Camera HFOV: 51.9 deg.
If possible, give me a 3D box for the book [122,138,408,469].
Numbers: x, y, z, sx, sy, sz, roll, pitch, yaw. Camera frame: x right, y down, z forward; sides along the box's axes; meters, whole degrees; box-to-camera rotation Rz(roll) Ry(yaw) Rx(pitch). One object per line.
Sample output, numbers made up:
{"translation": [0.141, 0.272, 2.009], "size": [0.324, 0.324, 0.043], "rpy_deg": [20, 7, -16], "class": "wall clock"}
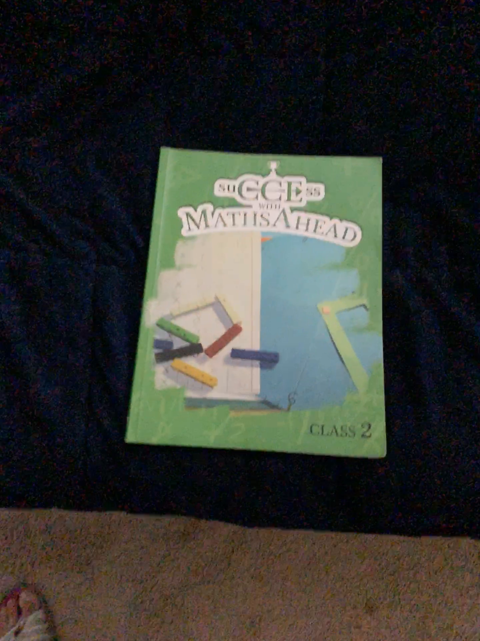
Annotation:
{"translation": [0.029, -0.024, 0.436], "size": [0.230, 0.020, 0.280], "rpy_deg": [4, 77, 1], "class": "book"}
